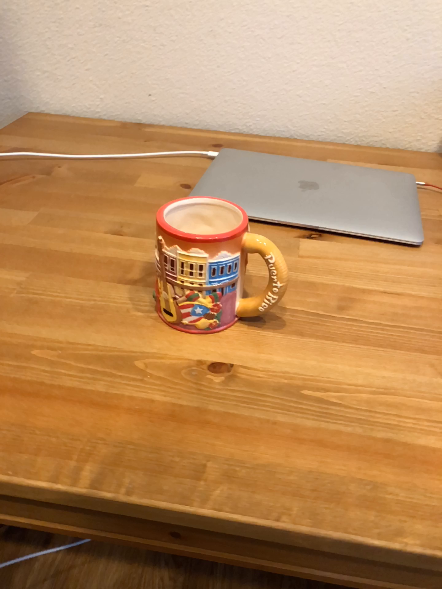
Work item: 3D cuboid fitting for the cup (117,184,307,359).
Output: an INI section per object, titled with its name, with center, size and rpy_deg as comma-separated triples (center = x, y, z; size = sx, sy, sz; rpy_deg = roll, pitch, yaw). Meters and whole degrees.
[cup]
center = -0.007, -0.025, 0.428
size = 0.130, 0.090, 0.090
rpy_deg = 17, 38, 18
